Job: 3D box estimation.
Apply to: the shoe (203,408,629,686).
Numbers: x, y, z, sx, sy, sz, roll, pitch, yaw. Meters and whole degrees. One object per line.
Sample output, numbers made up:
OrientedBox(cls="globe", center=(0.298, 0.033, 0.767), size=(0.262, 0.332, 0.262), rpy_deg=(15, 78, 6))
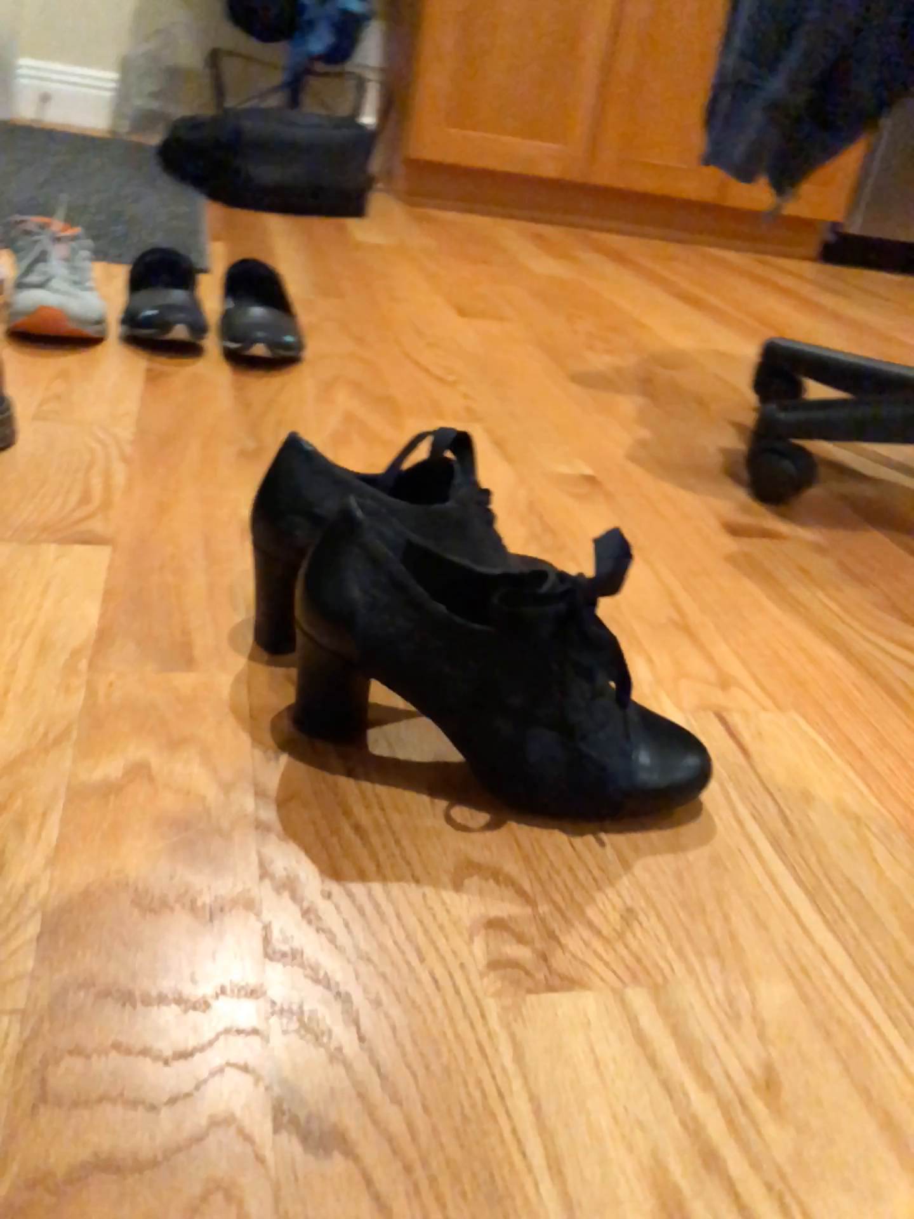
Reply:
OrientedBox(cls="shoe", center=(-0.026, -0.045, 0.599), size=(0.223, 0.125, 0.088), rpy_deg=(-6, 31, -29))

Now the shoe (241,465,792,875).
OrientedBox(cls="shoe", center=(0.023, 0.026, 0.482), size=(0.223, 0.125, 0.094), rpy_deg=(11, 27, 2))
